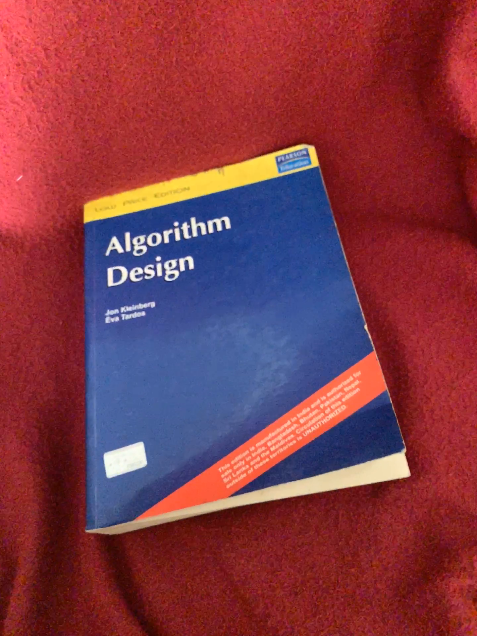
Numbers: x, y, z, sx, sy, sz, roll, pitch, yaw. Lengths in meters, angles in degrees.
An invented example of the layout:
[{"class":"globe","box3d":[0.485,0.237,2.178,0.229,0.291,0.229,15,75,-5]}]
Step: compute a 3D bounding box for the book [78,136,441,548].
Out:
[{"class":"book","box3d":[-0.005,0.006,0.348,0.190,0.060,0.251,-12,63,2]}]
